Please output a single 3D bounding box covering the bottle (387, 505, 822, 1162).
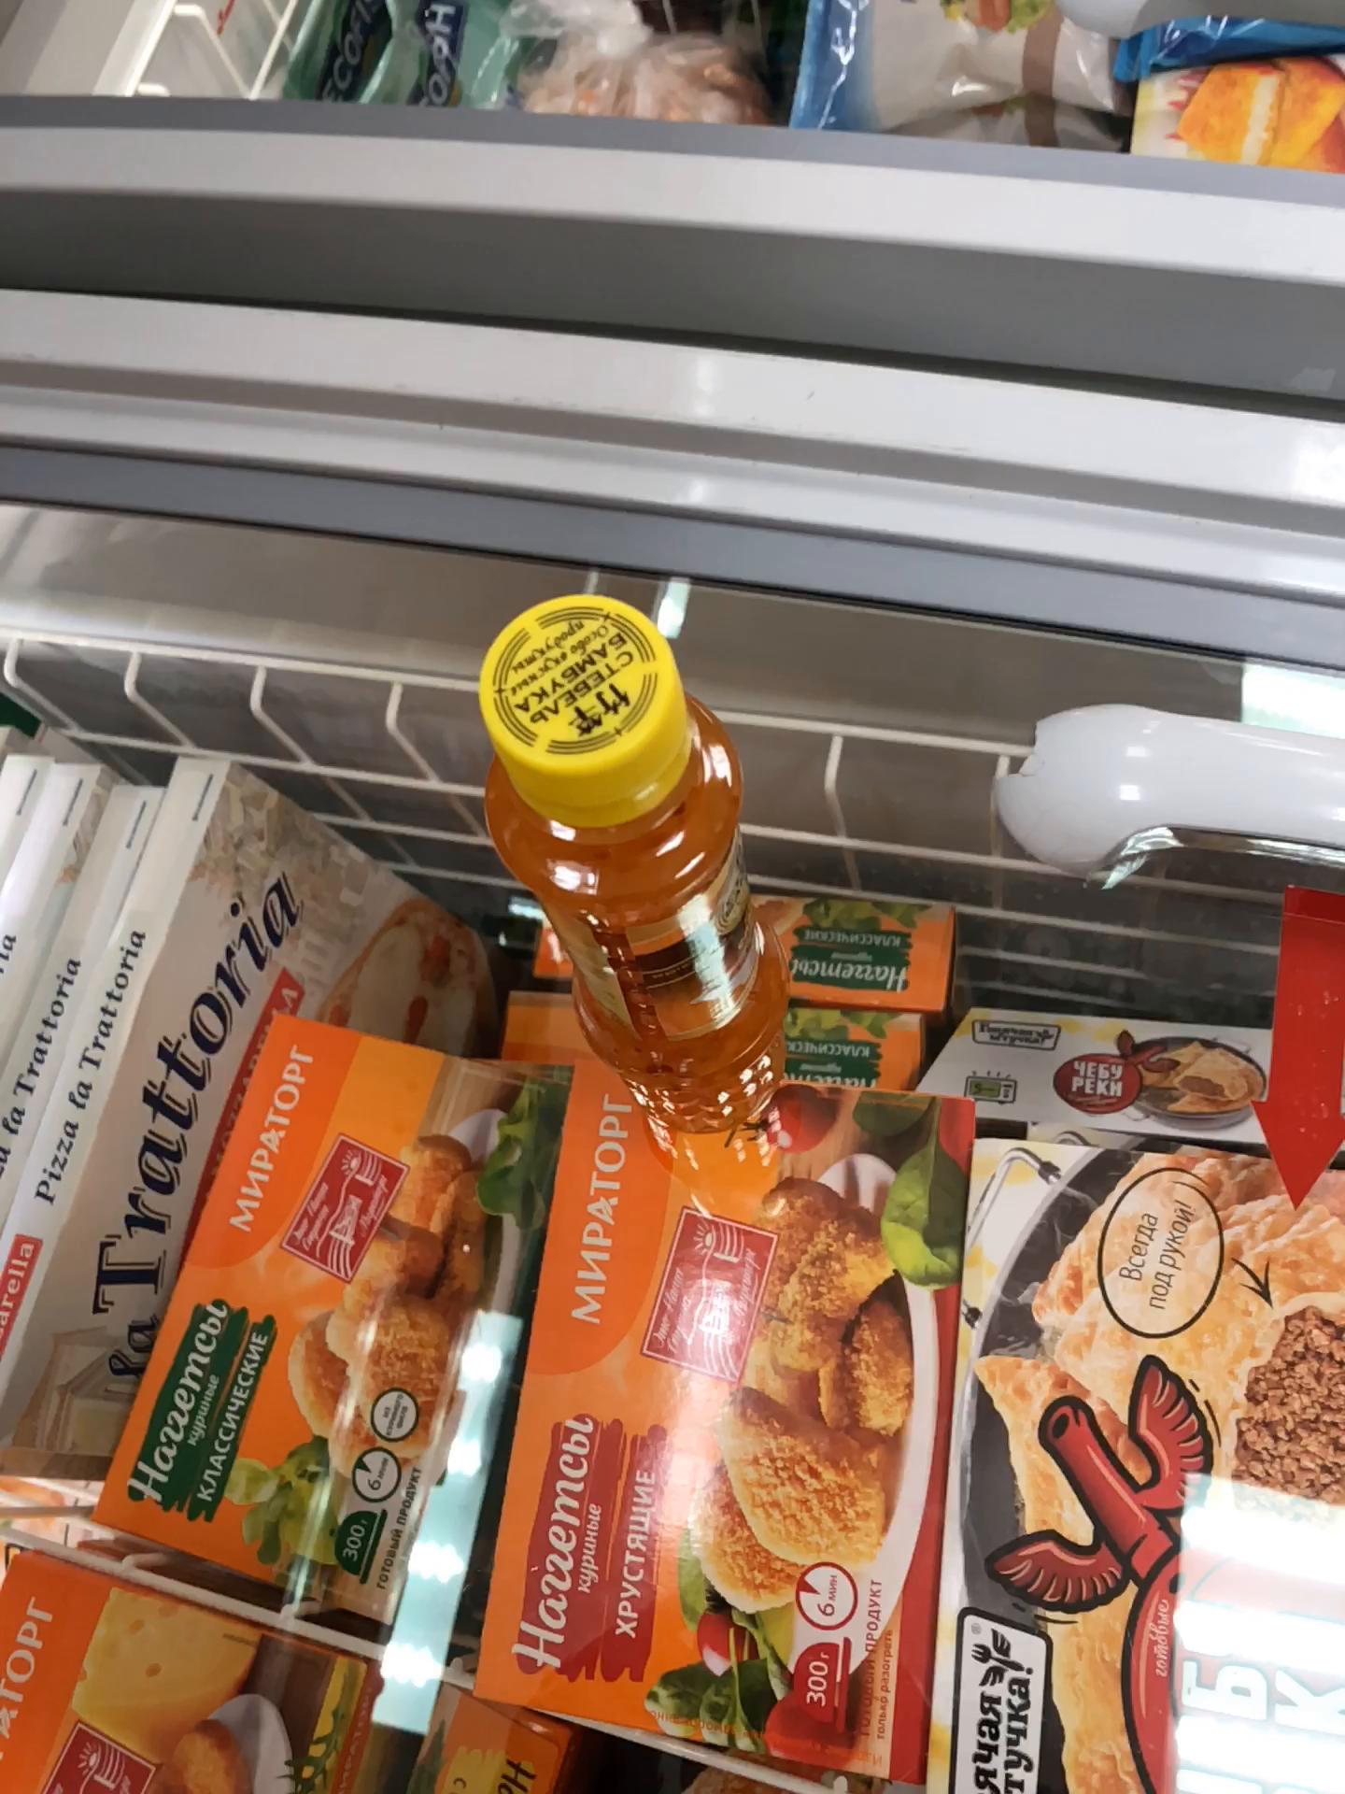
[{"bbox_3d":[-0.002,0.006,0.307,0.049,0.201,0.051,-2,69,6],"label":"bottle"}]
